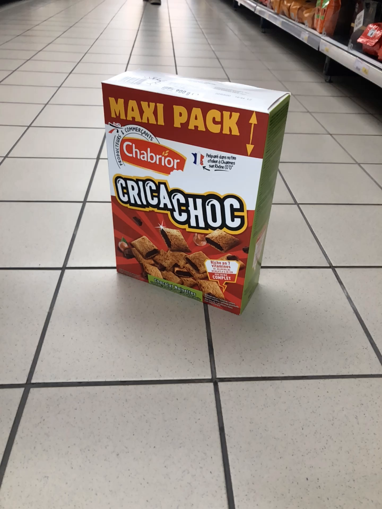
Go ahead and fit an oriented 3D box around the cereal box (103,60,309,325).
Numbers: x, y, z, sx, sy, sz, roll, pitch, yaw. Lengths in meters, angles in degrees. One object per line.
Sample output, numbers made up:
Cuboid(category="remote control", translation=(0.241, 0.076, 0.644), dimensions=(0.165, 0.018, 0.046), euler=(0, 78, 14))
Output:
Cuboid(category="cereal box", translation=(0.008, -0.073, 0.511), dimensions=(0.200, 0.268, 0.081), euler=(18, 37, 21))
